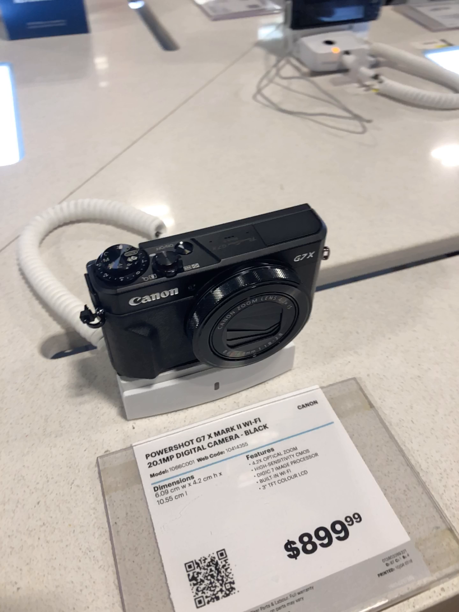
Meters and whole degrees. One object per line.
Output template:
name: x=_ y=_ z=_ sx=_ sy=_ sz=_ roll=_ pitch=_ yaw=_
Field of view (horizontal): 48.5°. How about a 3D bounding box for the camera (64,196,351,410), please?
camera: x=-0.009 y=-0.003 z=0.229 sx=0.110 sy=0.060 sz=0.040 roll=-15 pitch=47 yaw=-15
